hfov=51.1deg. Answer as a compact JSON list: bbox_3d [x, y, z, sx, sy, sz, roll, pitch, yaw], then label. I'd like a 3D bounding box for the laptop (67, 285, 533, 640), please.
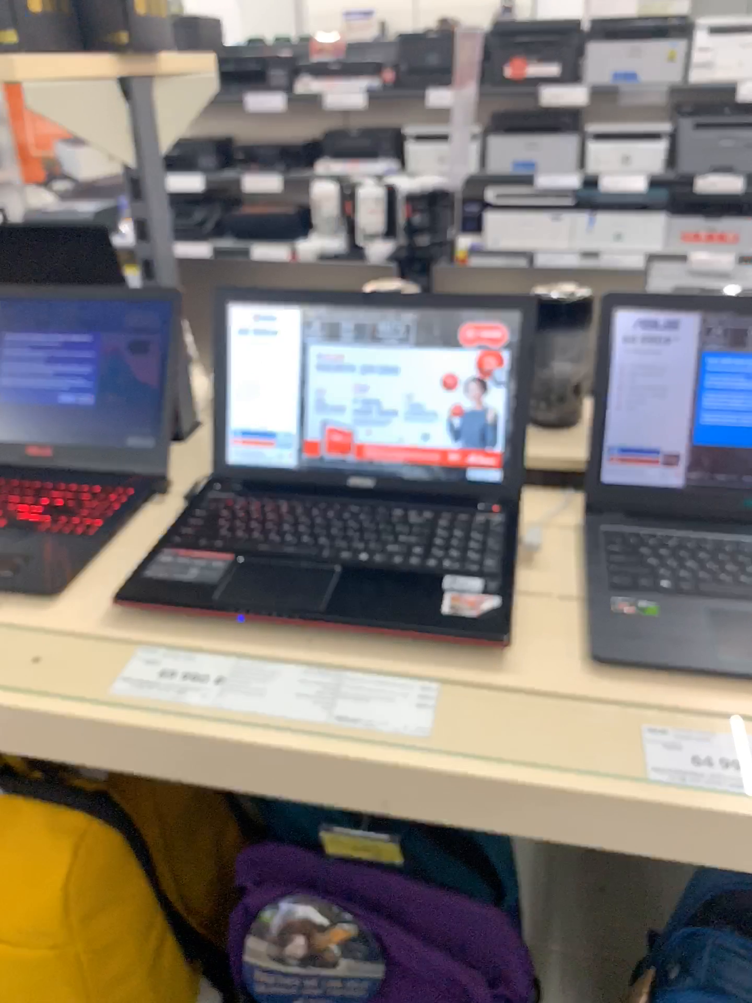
[{"bbox_3d":[-0.037,-0.065,0.767,0.355,0.197,0.314,5,30,10],"label":"laptop"}]
